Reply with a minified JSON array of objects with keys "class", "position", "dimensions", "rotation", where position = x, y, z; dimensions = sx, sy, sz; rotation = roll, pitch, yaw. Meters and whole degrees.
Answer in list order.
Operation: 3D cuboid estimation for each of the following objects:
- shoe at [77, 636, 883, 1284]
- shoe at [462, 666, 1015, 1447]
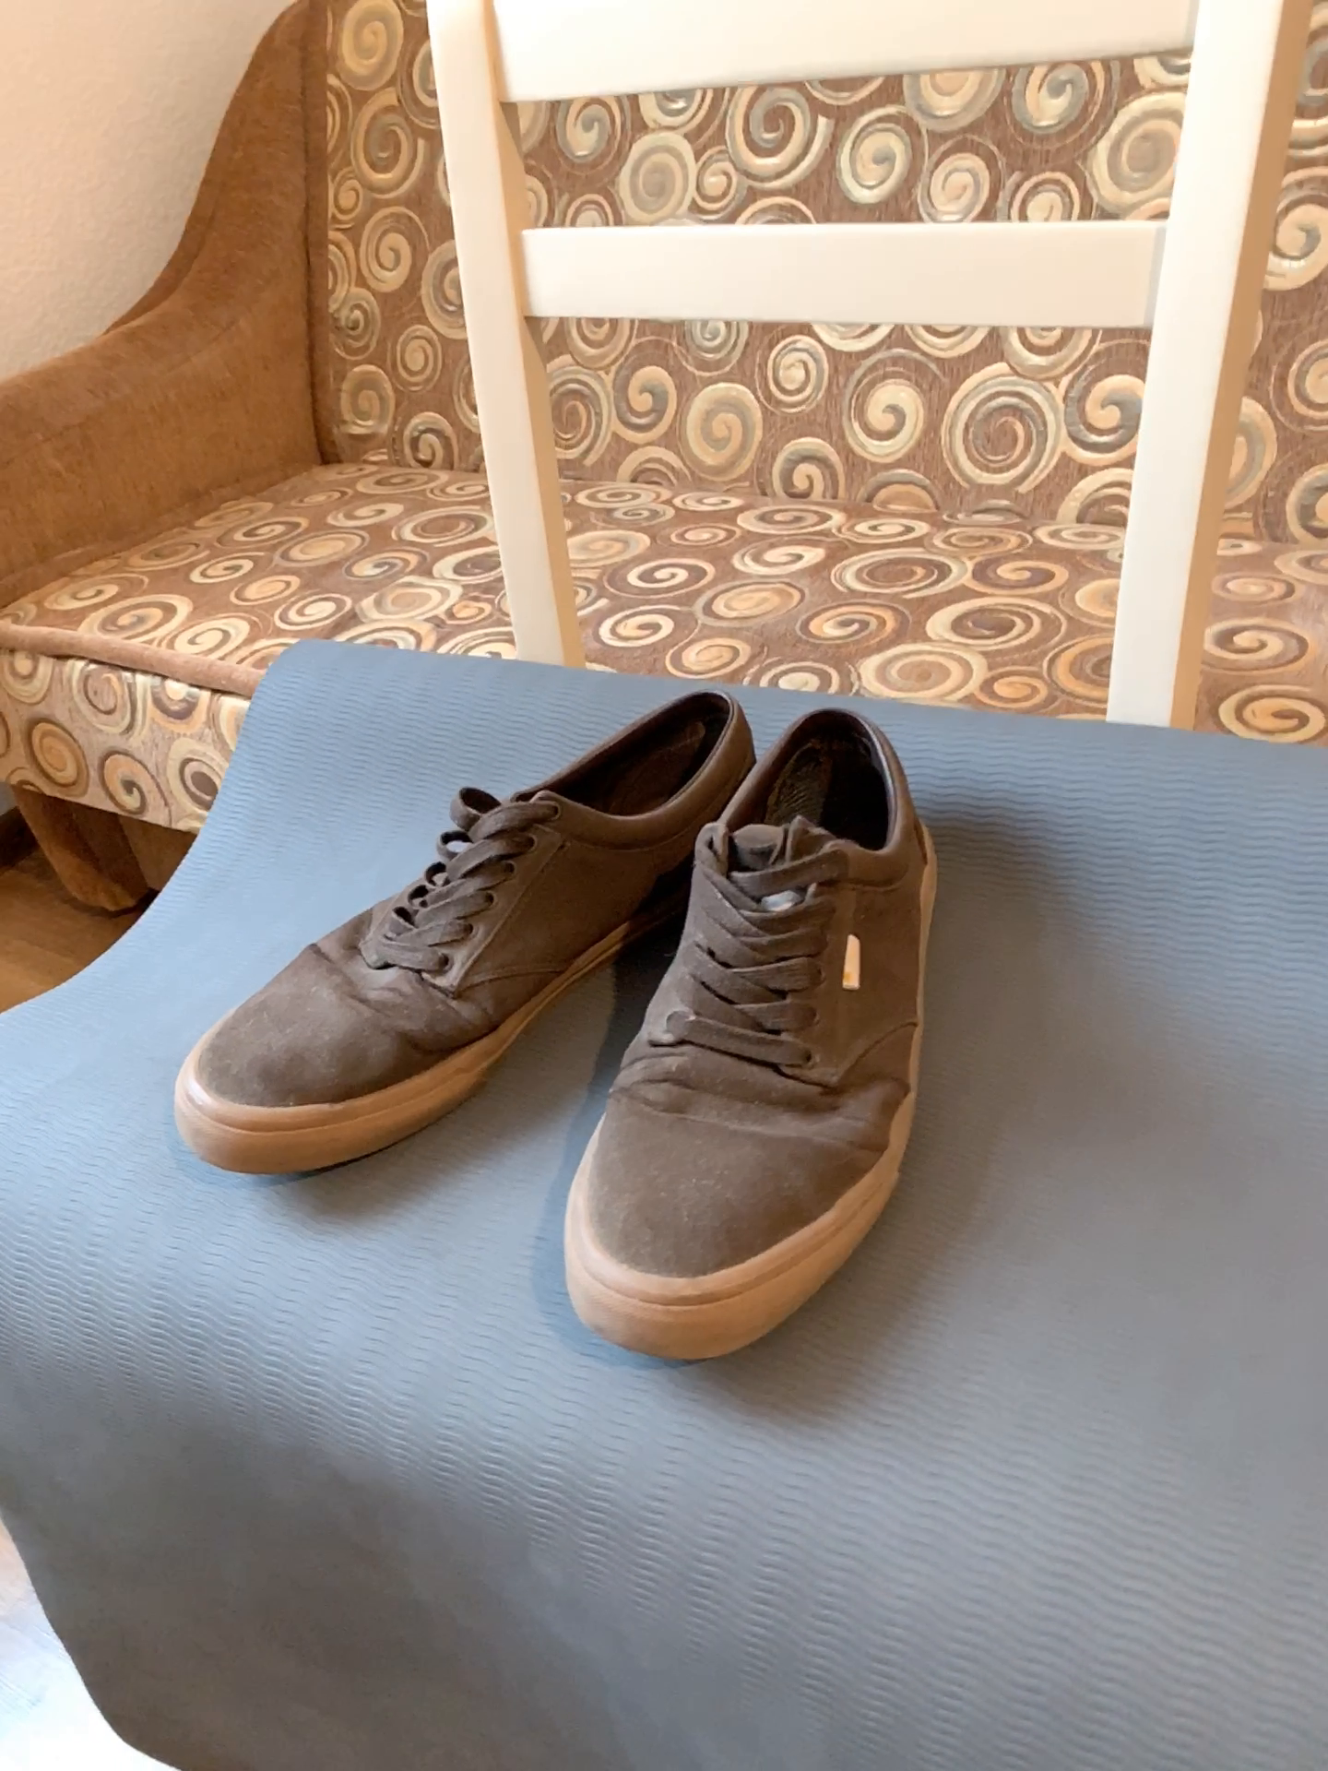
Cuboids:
[{"class":"shoe","position":[-0.057,0.009,0.586],"dimensions":[0.340,0.080,0.110],"rotation":[-35,43,-31]},{"class":"shoe","position":[0.052,0.032,0.512],"dimensions":[0.110,0.080,0.321],"rotation":[6,39,20]}]
